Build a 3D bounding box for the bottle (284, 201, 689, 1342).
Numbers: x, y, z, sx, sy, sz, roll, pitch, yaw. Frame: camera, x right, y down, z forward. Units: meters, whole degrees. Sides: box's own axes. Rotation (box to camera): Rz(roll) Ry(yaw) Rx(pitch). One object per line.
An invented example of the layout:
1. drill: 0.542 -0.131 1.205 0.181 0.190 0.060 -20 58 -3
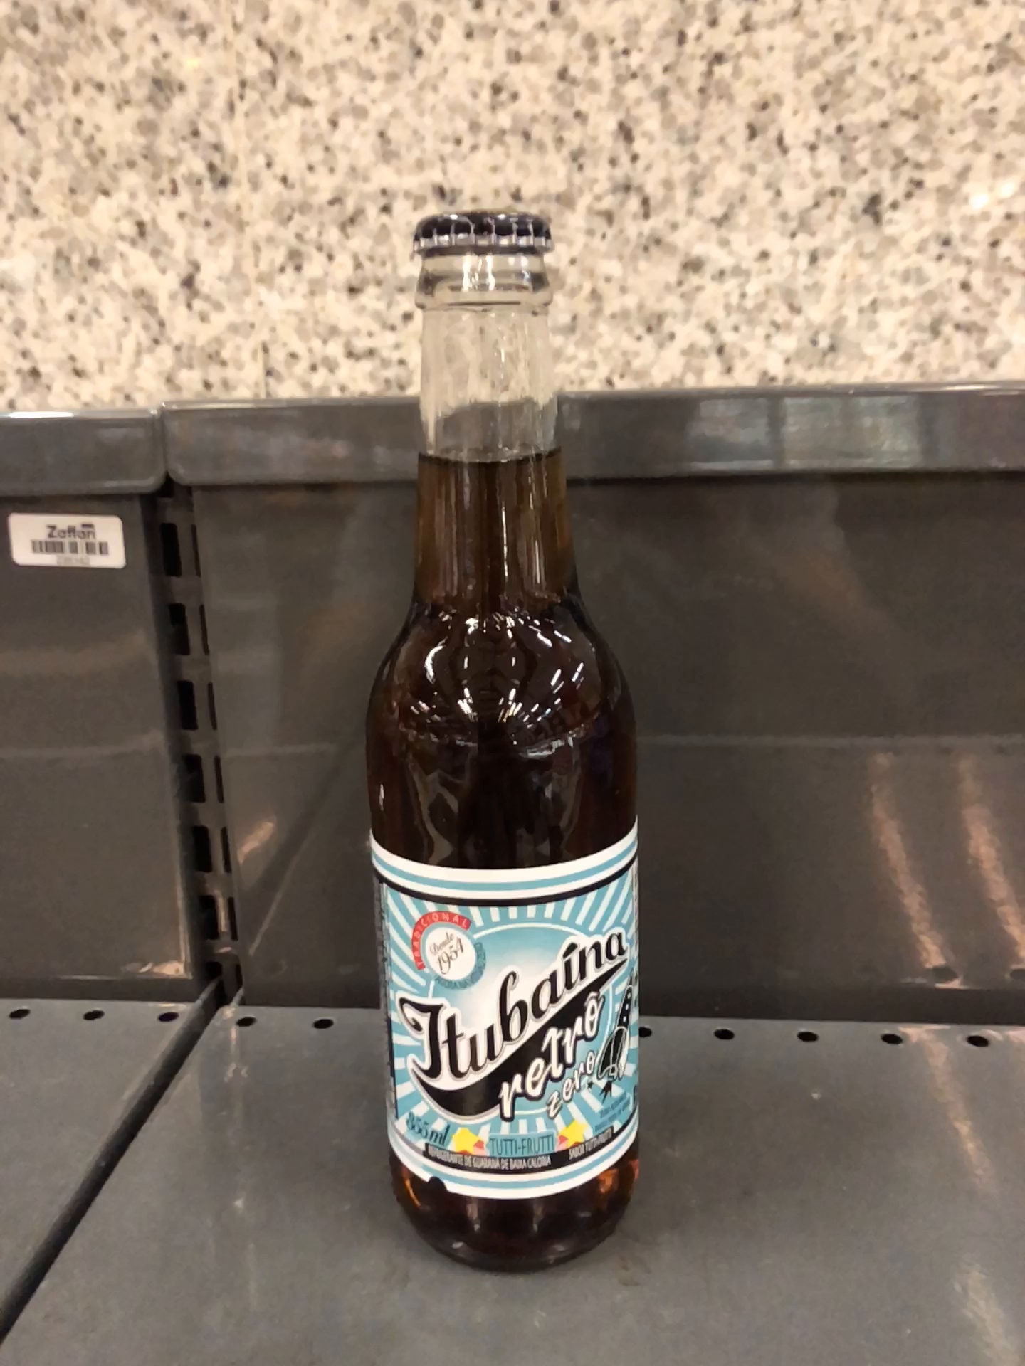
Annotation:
1. bottle: -0.003 0.025 0.253 0.070 0.239 0.050 -3 16 -4
